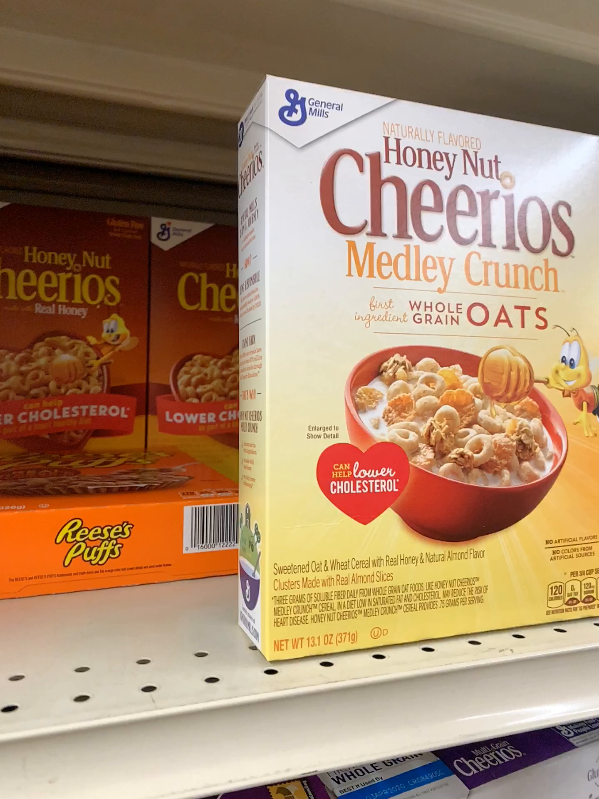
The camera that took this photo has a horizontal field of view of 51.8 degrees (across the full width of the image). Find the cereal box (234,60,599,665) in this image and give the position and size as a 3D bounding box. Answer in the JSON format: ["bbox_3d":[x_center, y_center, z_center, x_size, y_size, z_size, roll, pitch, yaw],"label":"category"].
[{"bbox_3d":[0.067,-0.017,0.314,0.190,0.250,0.060,0,-3,-19],"label":"cereal box"}]
